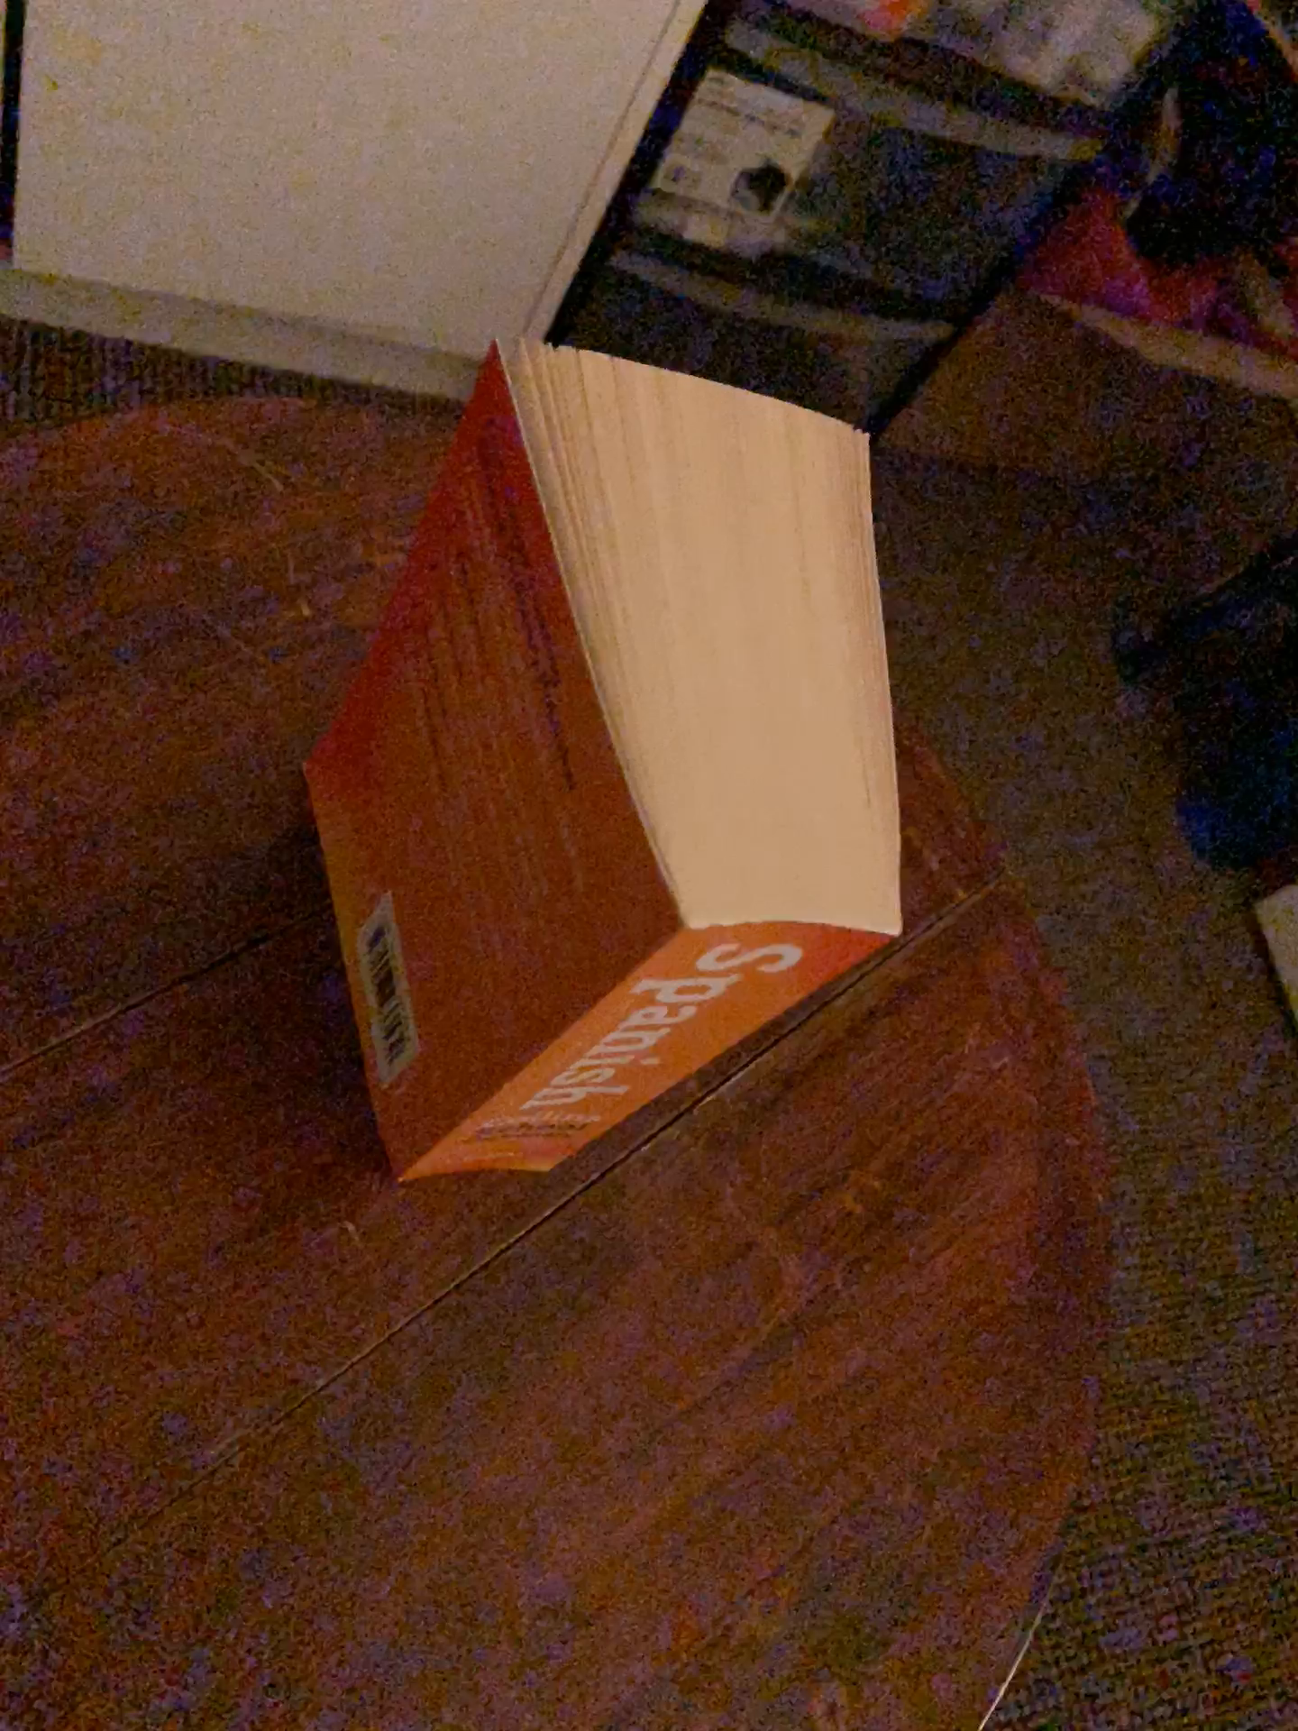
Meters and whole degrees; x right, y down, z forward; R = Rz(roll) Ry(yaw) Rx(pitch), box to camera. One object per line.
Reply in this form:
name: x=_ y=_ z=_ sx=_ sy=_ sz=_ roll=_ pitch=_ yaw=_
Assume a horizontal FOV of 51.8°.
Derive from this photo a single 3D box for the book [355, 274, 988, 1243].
book: x=-0.010 y=-0.006 z=0.279 sx=0.080 sy=0.149 sz=0.141 roll=6 pitch=65 yaw=-14
